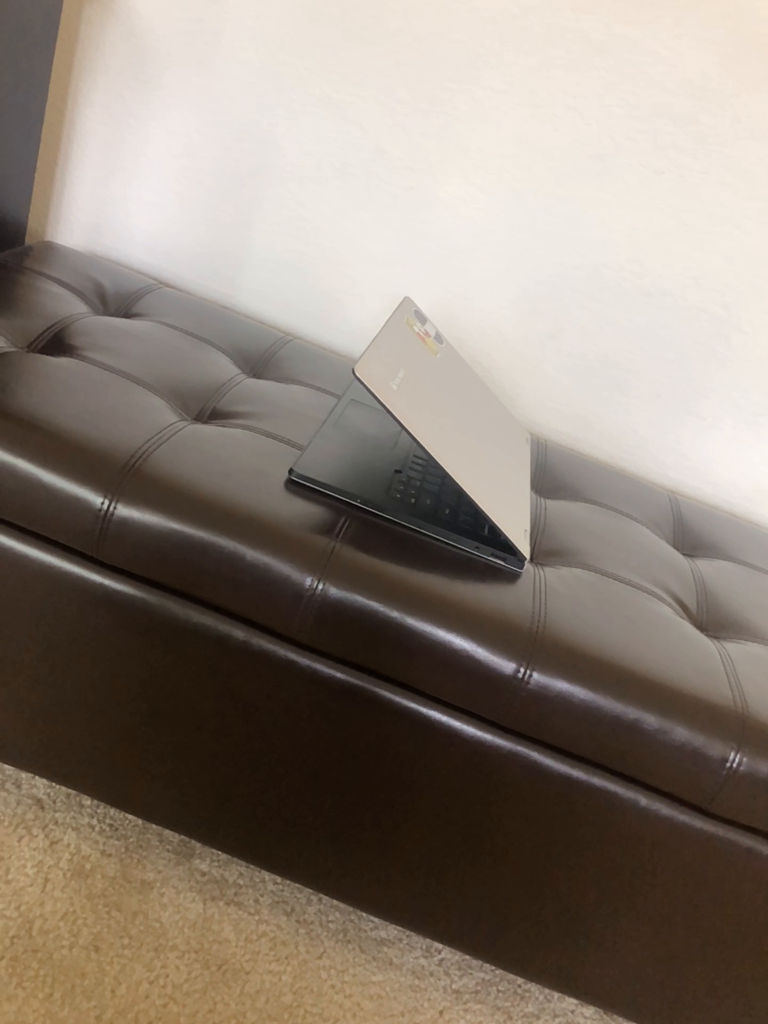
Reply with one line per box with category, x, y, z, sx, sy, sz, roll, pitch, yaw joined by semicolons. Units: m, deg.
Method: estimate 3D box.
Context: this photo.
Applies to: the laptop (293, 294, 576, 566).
laptop;0.058;-0.094;0.783;0.197;0.097;0.294;22;26;0
